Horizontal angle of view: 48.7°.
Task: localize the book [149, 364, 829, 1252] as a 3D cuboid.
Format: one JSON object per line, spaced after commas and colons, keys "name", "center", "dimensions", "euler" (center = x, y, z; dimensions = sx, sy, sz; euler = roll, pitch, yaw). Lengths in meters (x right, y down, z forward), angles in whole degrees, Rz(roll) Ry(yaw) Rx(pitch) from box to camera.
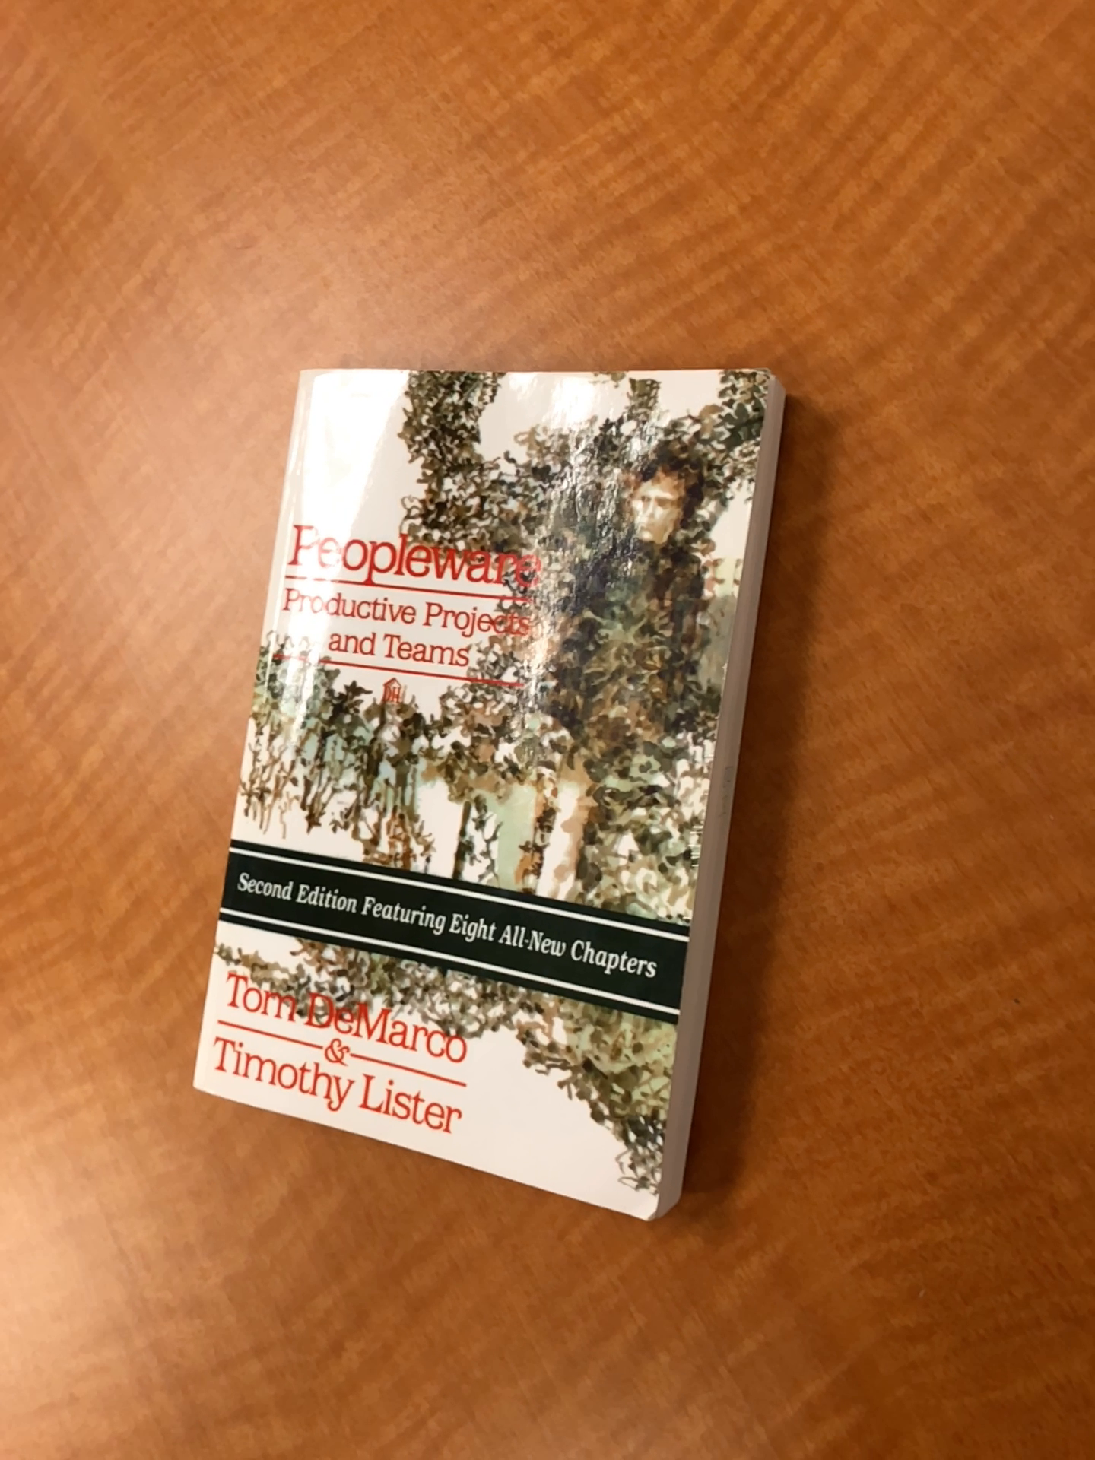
{"name": "book", "center": [-0.017, 0.010, 0.350], "dimensions": [0.160, 0.050, 0.220], "euler": [7, 86, 22]}
